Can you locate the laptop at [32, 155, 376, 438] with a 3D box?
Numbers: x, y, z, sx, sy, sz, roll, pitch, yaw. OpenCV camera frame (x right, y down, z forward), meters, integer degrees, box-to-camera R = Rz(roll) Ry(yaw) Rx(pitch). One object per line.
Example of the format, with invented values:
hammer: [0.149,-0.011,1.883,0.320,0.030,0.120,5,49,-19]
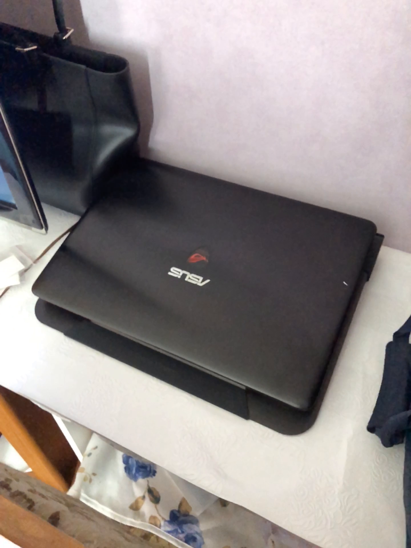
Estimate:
laptop: [-0.005,-0.002,0.627,0.394,0.060,0.267,19,62,20]
